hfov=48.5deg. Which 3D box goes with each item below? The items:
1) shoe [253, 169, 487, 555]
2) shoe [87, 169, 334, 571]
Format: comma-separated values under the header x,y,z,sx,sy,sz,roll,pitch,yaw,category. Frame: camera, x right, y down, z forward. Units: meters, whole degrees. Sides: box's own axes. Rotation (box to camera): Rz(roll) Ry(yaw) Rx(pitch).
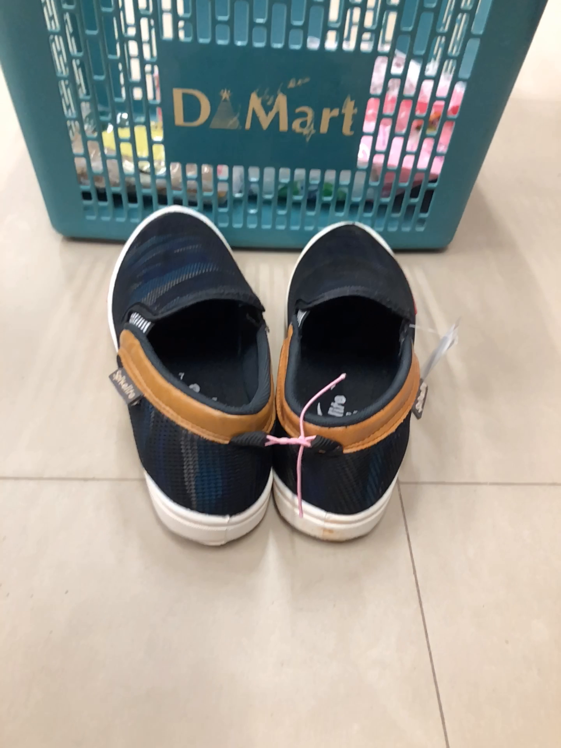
x,y,z,sx,sy,sz,roll,pitch,yaw,category
0.050,-0.023,0.408,0.105,0.106,0.240,6,45,1,shoe
-0.057,-0.020,0.398,0.105,0.106,0.240,-8,47,-12,shoe
